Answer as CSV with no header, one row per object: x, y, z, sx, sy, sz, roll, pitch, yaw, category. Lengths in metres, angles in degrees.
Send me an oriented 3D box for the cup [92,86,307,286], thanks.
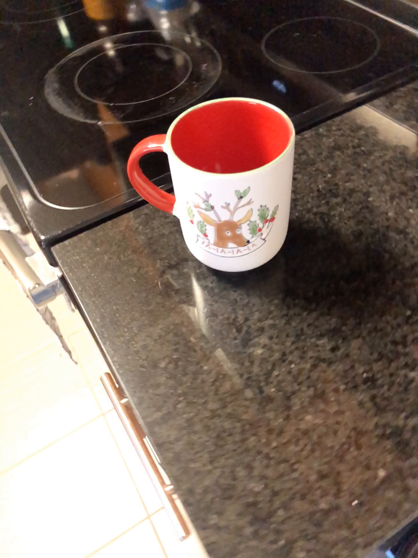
0.001,-0.072,0.360,0.130,0.110,0.090,8,53,12,cup
